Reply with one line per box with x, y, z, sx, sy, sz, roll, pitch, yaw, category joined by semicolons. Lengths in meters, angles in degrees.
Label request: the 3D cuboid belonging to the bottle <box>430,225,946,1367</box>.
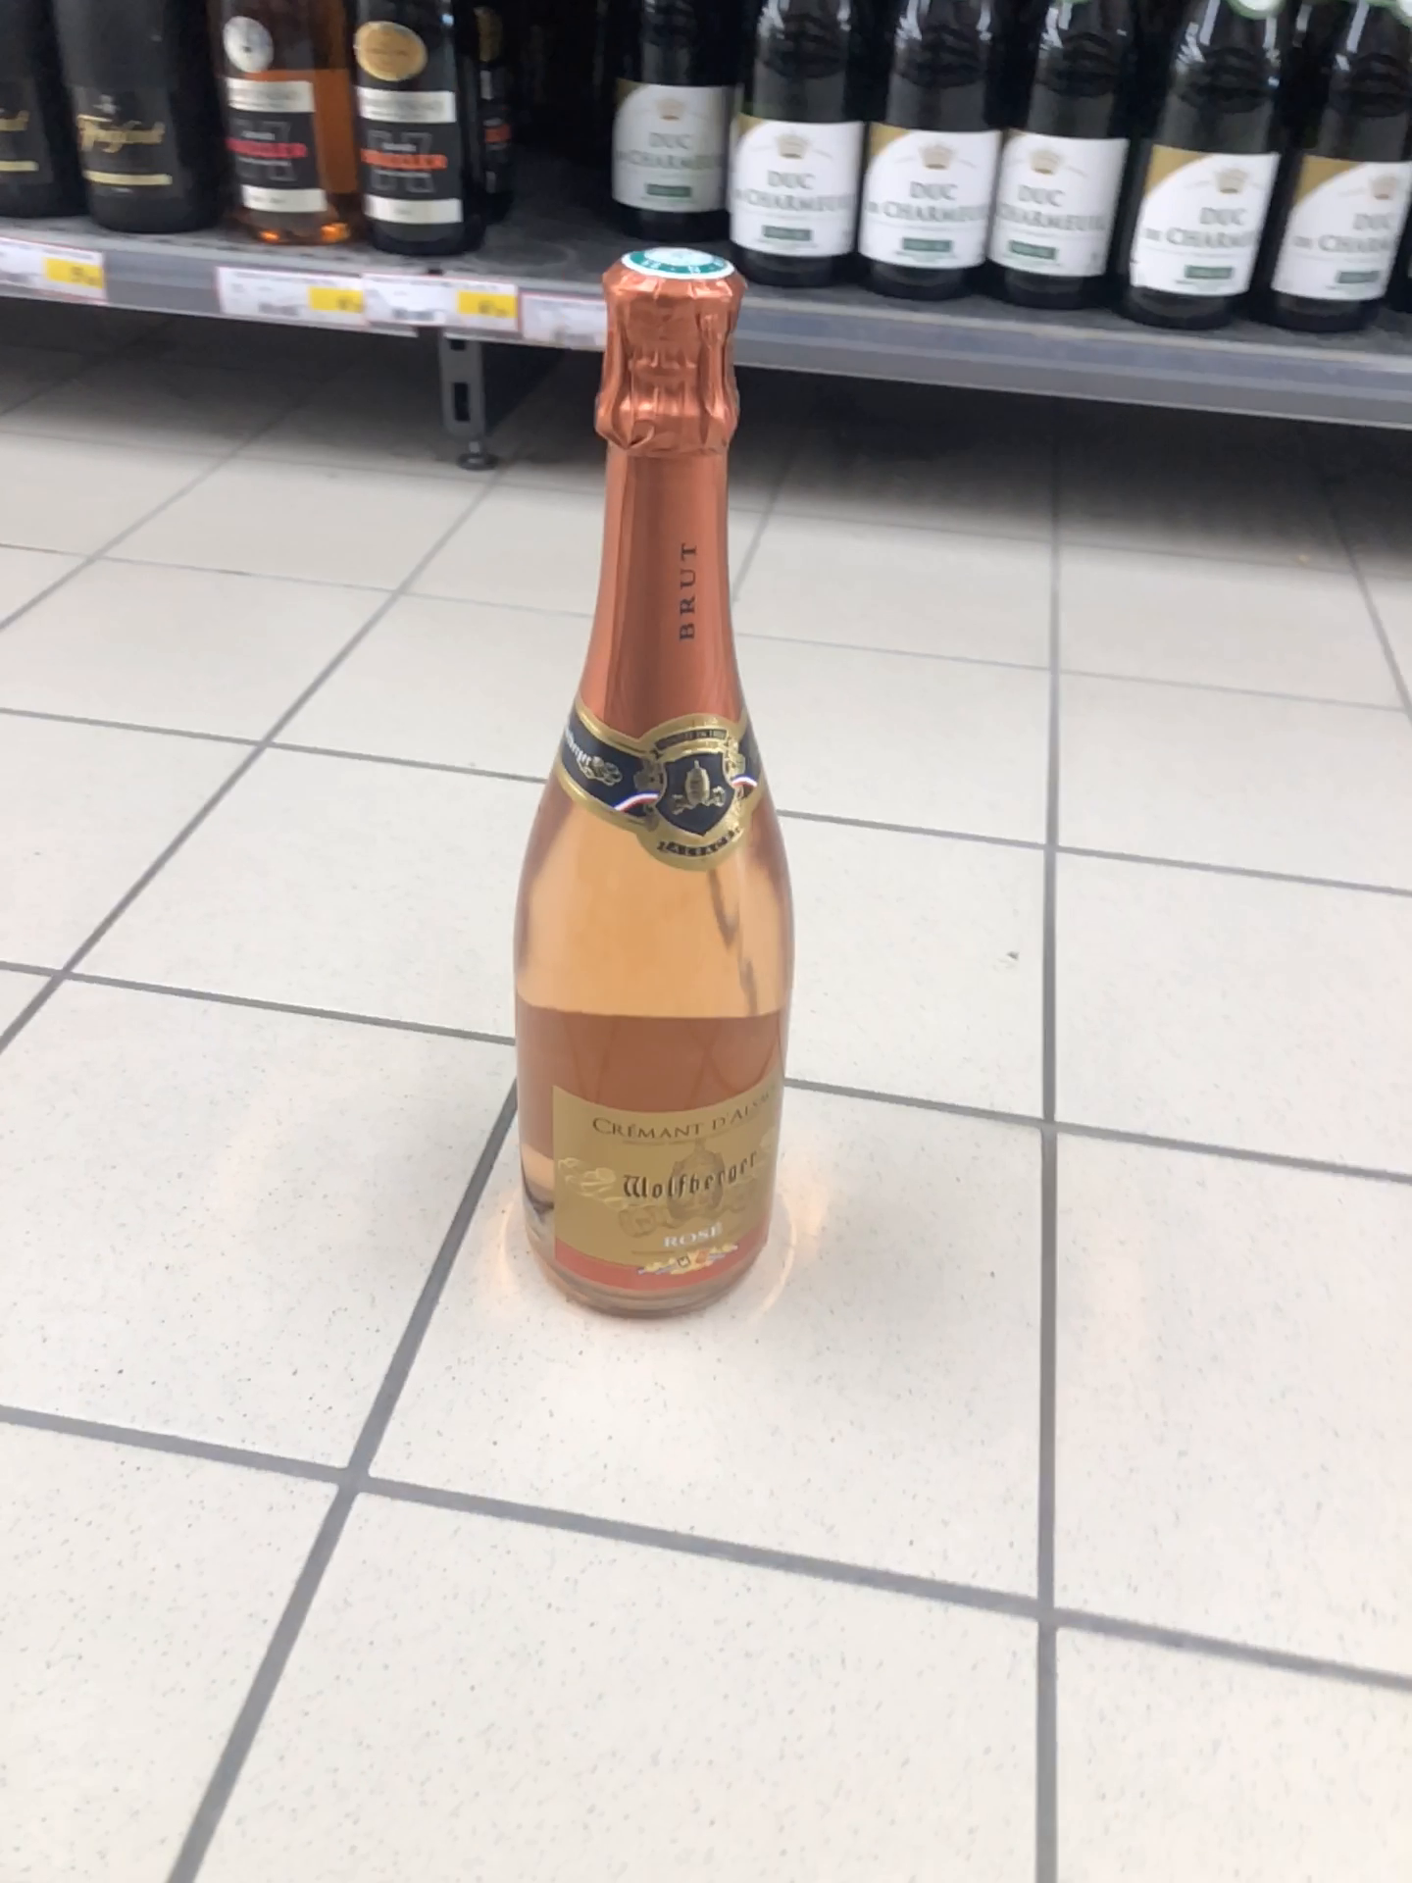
-0.013;-0.028;0.446;0.090;0.308;0.090;2;34;-1;bottle
